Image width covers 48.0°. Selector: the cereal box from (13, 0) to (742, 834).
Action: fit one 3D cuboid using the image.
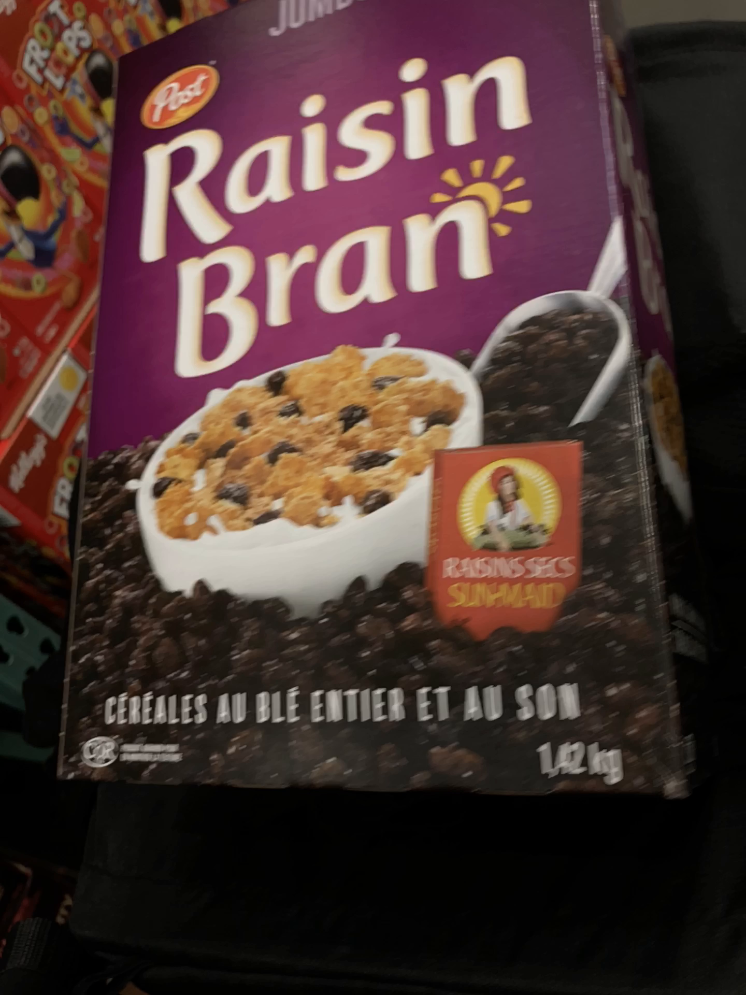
[{"bbox_3d":[-0.001,-0.043,0.309,0.211,0.109,0.290,-8,74,26],"label":"cereal box"}]
